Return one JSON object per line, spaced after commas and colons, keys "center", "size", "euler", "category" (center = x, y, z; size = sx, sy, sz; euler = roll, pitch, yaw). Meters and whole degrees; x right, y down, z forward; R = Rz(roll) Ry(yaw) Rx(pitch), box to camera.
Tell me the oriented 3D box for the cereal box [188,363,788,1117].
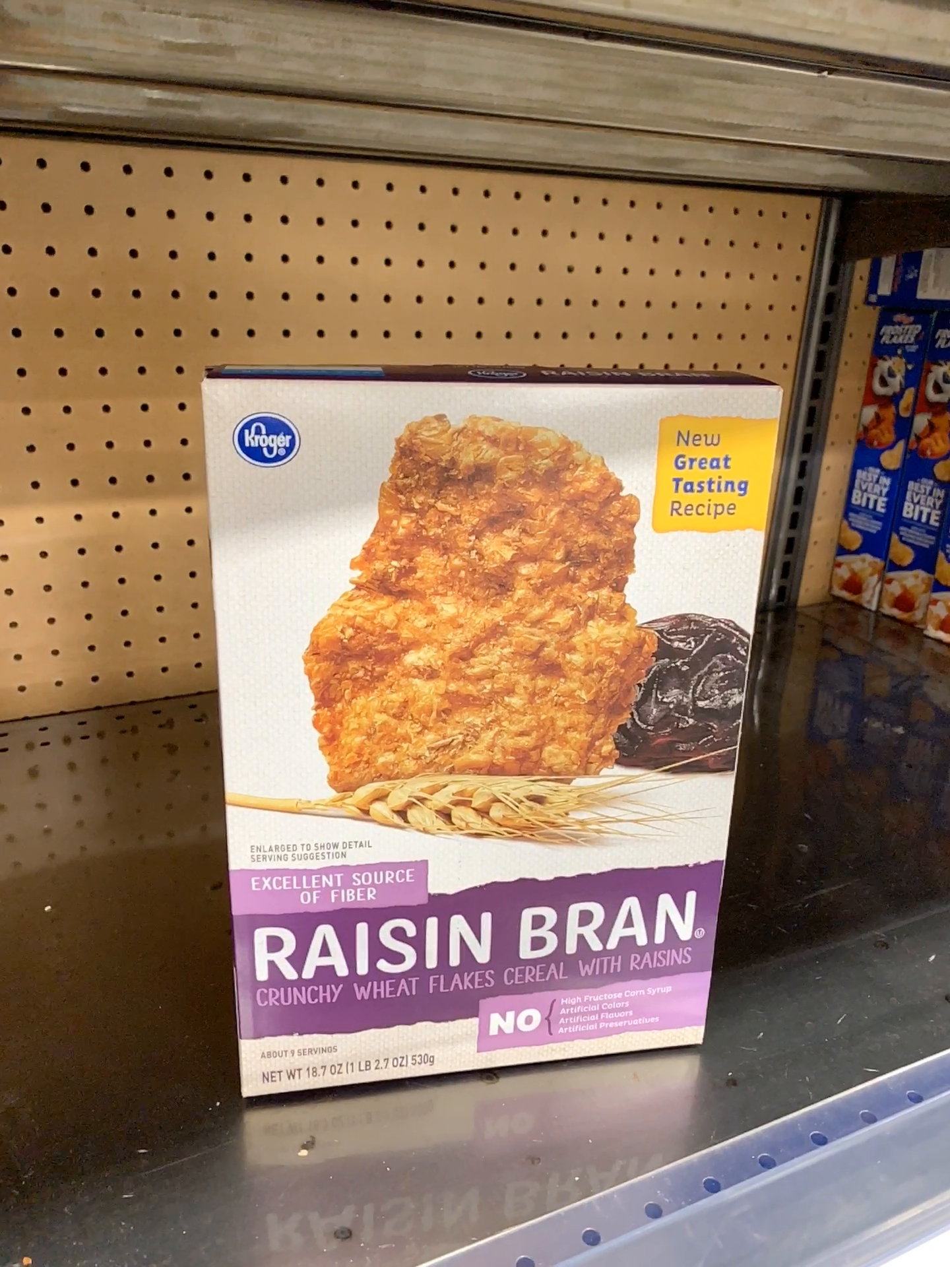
{"center": [0.001, 0.041, 0.367], "size": [0.190, 0.269, 0.050], "euler": [-2, 19, -12], "category": "cereal box"}
